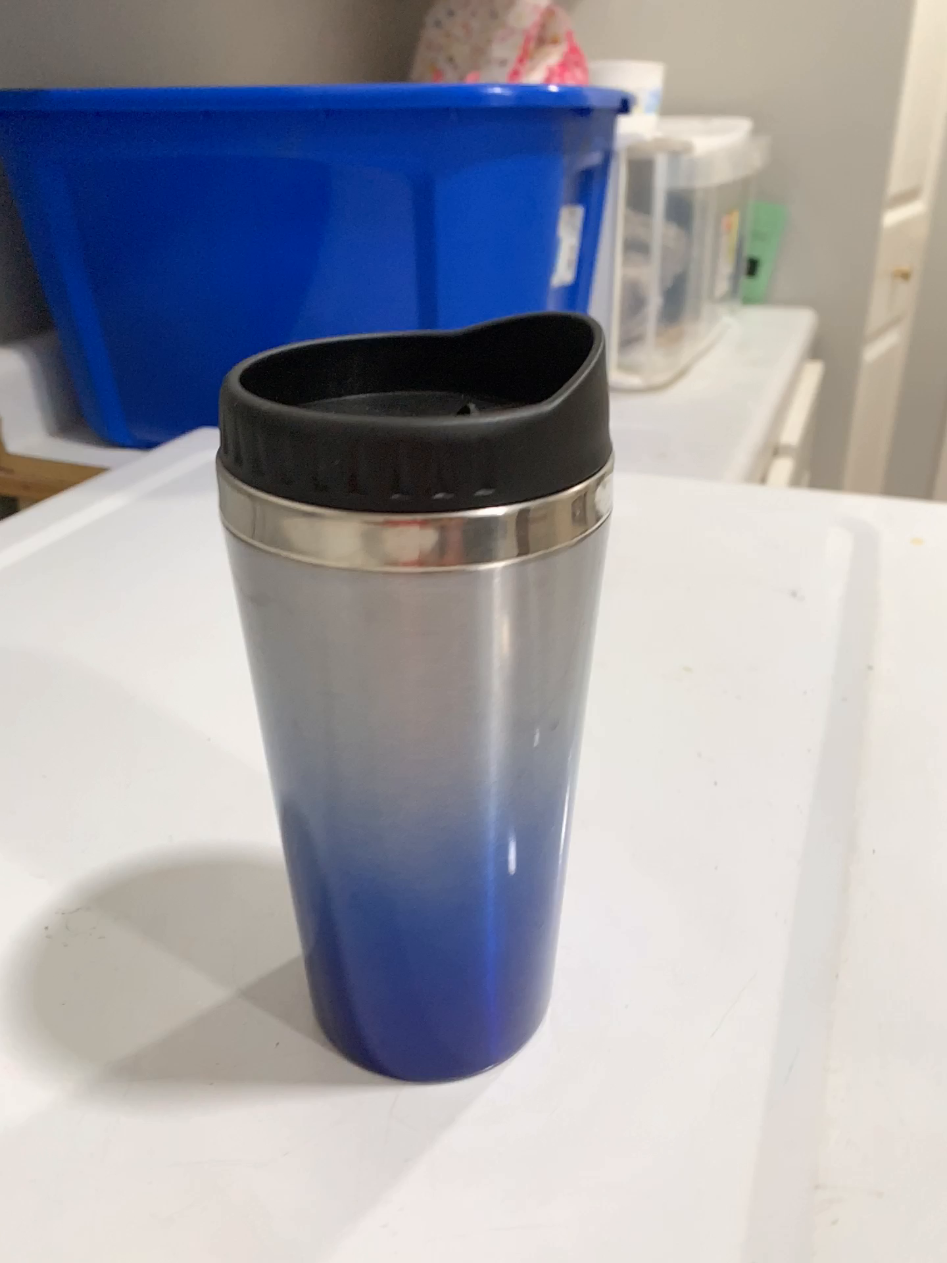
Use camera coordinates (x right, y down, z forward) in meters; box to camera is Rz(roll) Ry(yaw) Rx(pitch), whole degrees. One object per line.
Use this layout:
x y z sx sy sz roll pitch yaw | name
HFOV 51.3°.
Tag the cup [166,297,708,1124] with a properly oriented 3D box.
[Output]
-0.008 0.018 0.235 0.089 0.171 0.080 -5 27 -7 | cup
